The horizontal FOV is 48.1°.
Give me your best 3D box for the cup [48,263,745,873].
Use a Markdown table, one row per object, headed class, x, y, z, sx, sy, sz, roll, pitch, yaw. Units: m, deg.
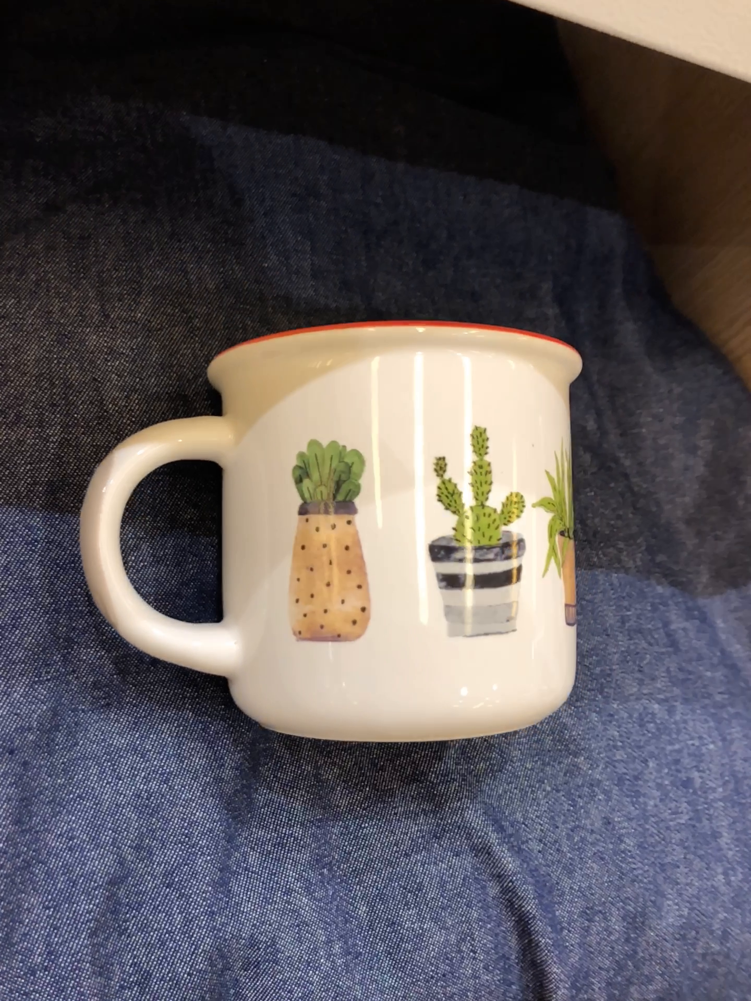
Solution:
| class | x | y | z | sx | sy | sz | roll | pitch | yaw |
| --- | --- | --- | --- | --- | --- | --- | --- | --- | --- |
| cup | -0.003 | 0.015 | 0.207 | 0.140 | 0.090 | 0.100 | 0 | 81 | -24 |
